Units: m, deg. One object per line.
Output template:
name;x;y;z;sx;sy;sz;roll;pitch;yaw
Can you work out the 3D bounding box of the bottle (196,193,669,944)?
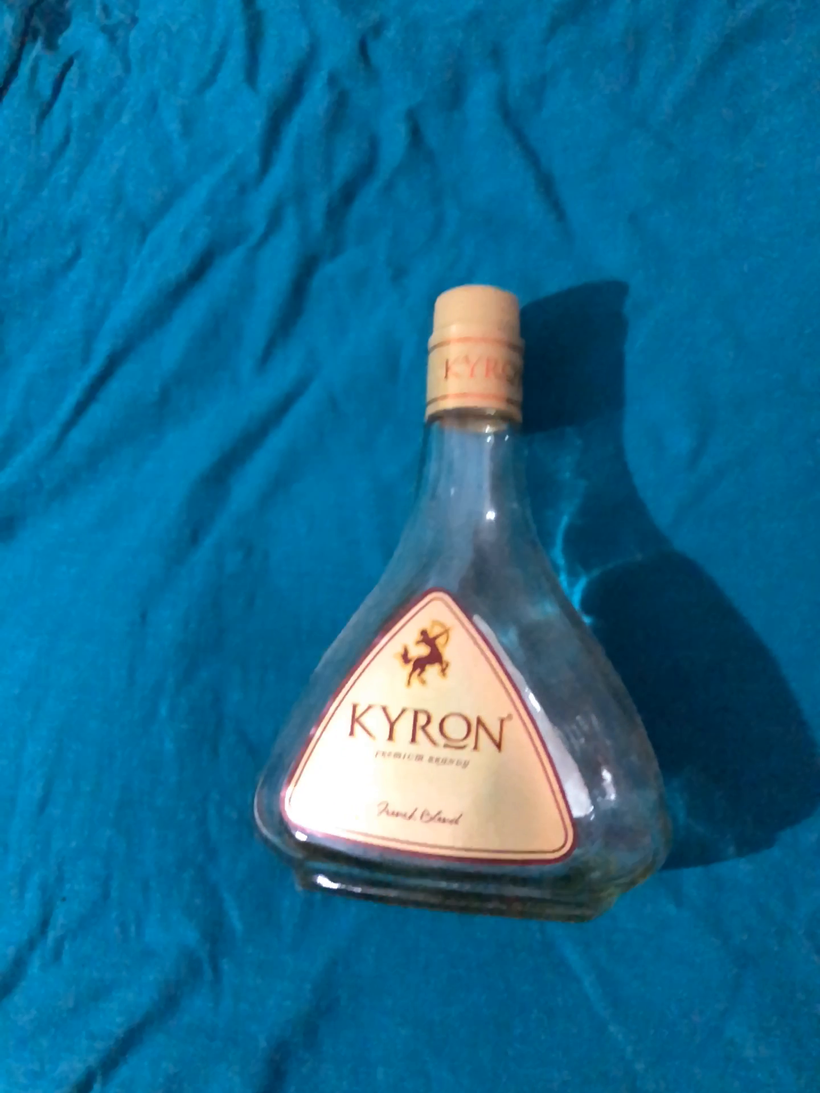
bottle;0.012;0.005;0.263;0.120;0.060;0.180;0;83;16
